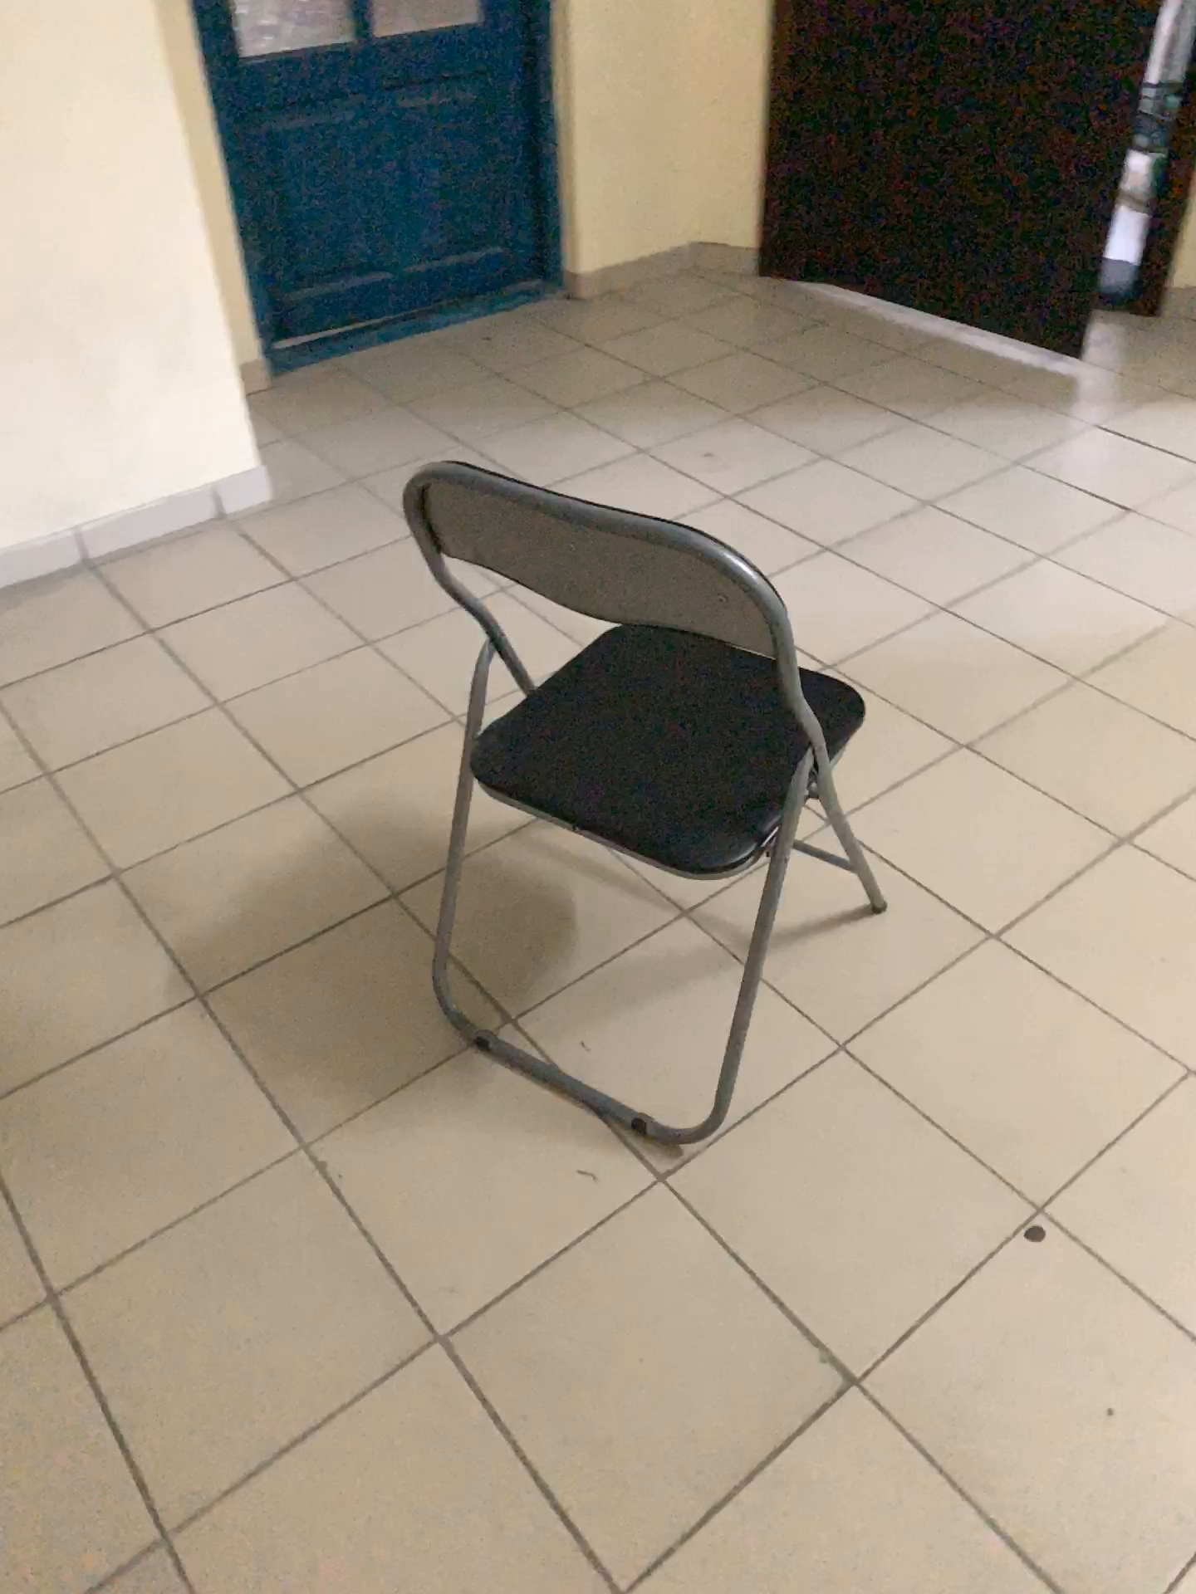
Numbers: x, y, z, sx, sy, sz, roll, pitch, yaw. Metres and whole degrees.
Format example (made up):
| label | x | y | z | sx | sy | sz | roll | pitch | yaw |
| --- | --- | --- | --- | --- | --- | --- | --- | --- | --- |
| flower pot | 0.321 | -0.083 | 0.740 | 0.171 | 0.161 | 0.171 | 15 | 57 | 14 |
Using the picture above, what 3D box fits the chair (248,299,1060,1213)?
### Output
| label | x | y | z | sx | sy | sz | roll | pitch | yaw |
| --- | --- | --- | --- | --- | --- | --- | --- | --- | --- |
| chair | 0.077 | -0.072 | 1.411 | 0.571 | 0.726 | 0.562 | 24 | 47 | 27 |
